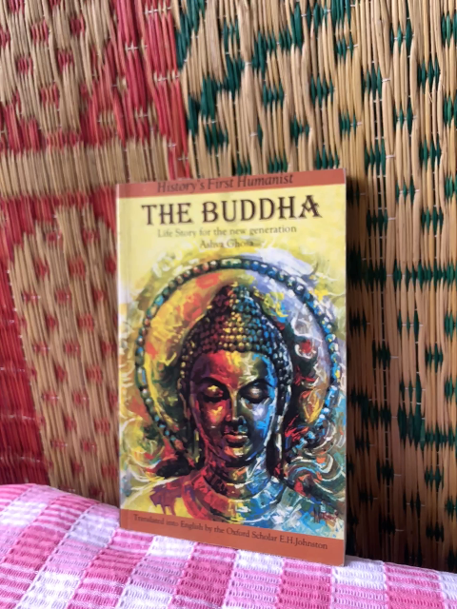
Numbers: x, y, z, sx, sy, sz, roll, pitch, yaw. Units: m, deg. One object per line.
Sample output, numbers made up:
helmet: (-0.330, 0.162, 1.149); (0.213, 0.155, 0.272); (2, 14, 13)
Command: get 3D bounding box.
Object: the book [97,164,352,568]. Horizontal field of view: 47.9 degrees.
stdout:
book: (-0.005, 0.031, 0.300); (0.146, 0.207, 0.030); (1, 1, 18)
